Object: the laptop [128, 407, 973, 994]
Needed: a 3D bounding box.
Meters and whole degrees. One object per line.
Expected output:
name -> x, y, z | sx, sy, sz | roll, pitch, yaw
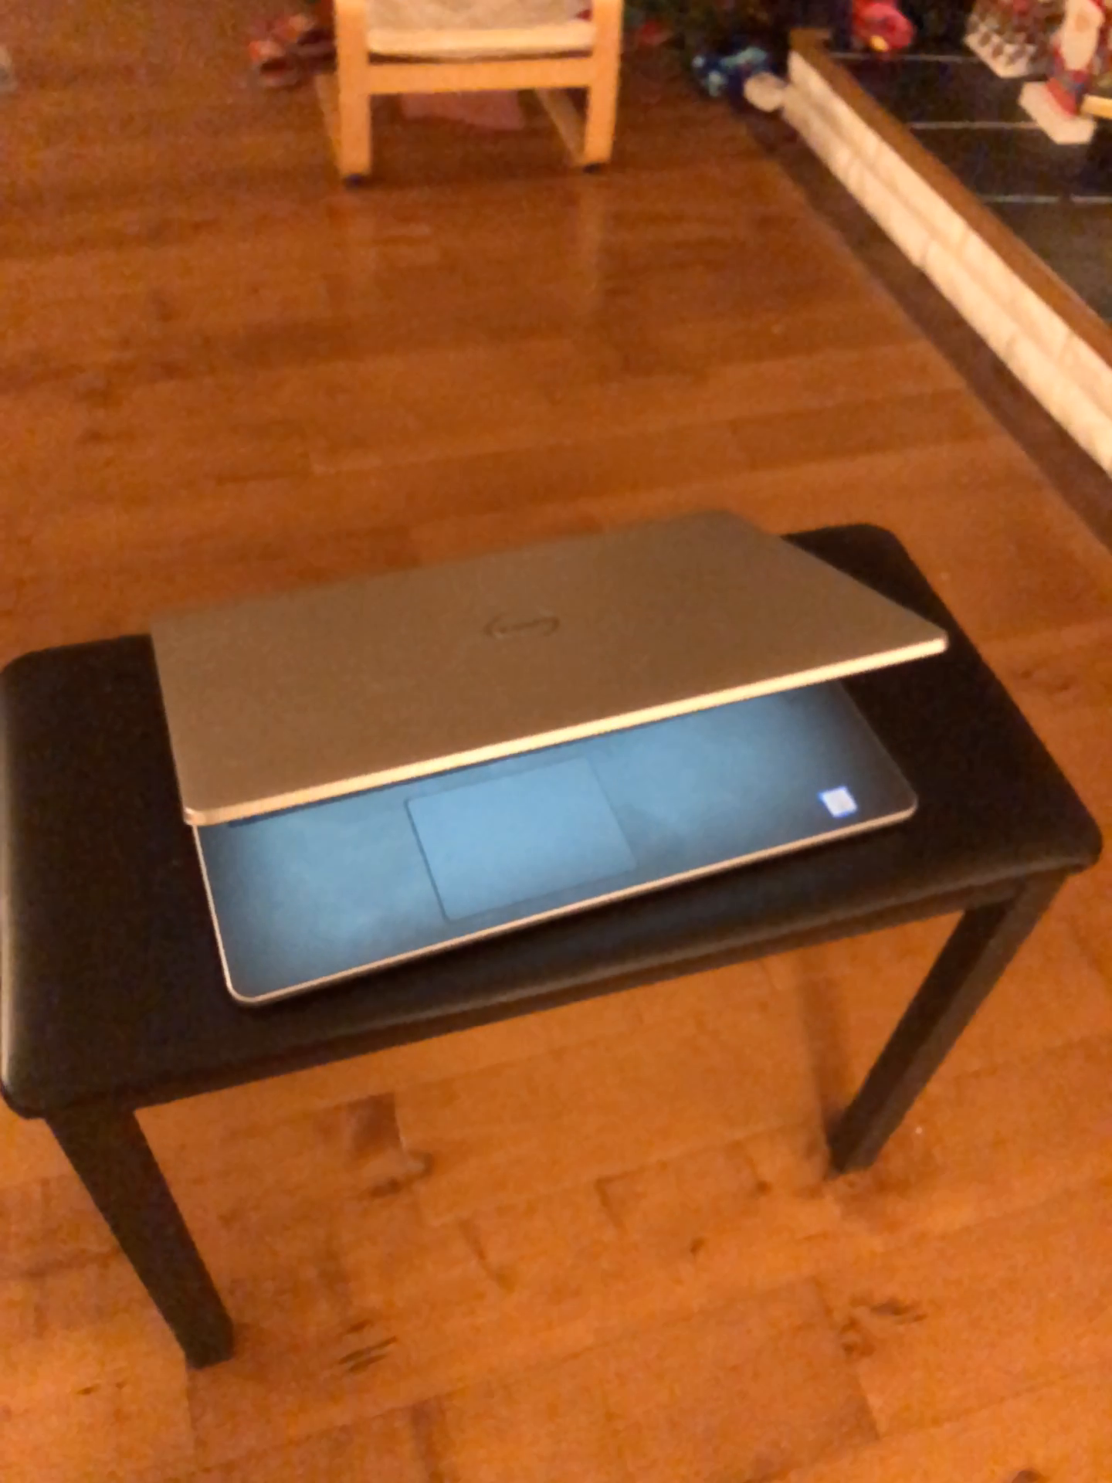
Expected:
laptop -> -0.015, -0.043, 0.668 | 0.365, 0.107, 0.249 | -13, 51, -16
